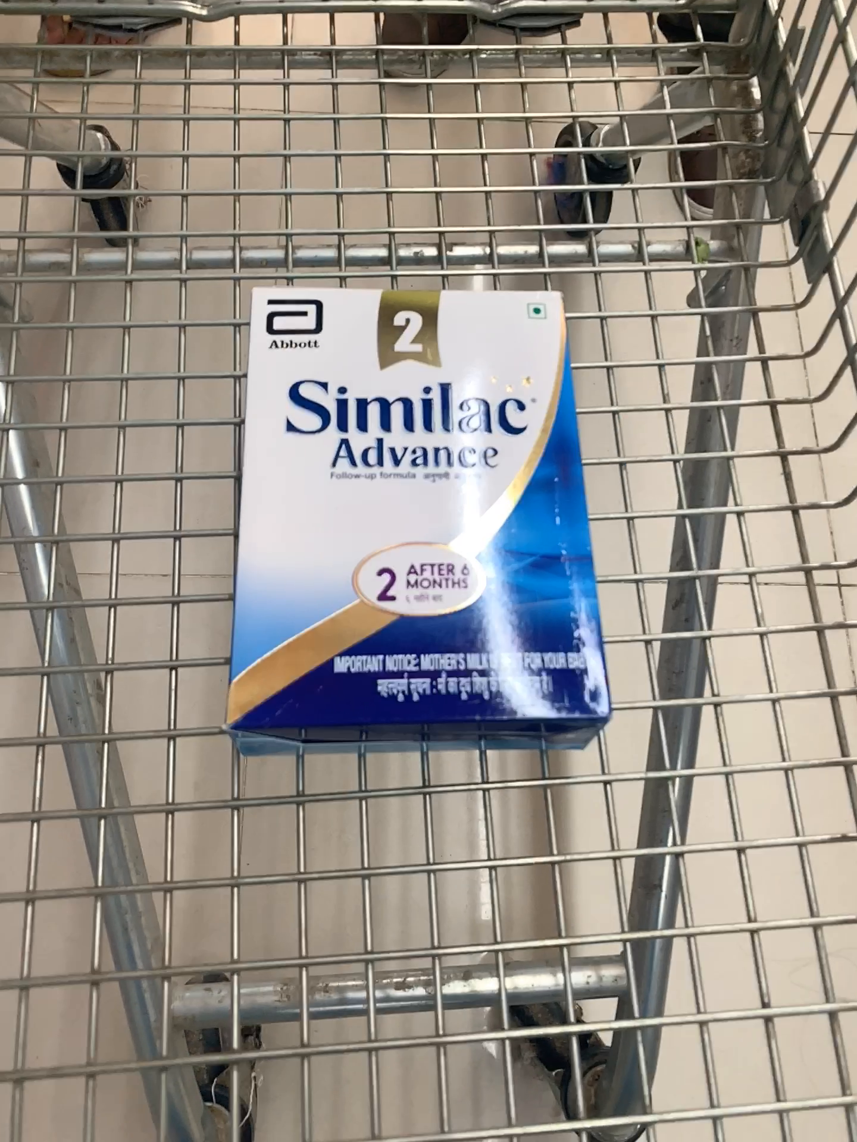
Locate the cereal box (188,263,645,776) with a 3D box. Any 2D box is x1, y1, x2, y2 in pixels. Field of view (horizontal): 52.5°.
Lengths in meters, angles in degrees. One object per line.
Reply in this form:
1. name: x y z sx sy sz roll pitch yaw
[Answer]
1. cereal box: -0.008 -0.026 0.353 0.150 0.060 0.200 -1 66 -4
